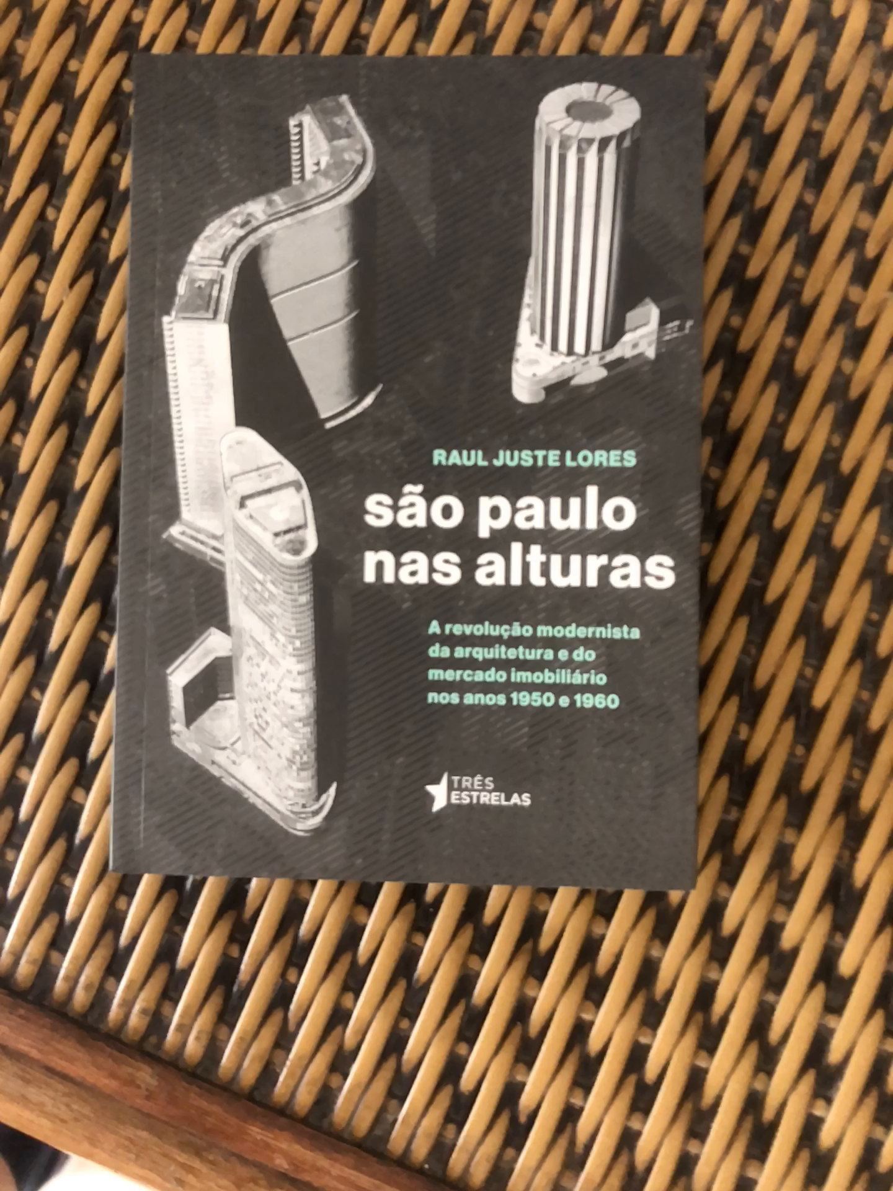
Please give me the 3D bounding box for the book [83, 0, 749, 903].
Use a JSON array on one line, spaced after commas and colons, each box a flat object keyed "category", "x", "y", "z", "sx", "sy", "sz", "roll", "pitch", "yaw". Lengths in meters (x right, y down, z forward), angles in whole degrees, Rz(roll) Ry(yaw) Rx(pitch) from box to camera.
[{"category": "book", "x": -0.008, "y": -0.036, "z": 0.264, "sx": 0.160, "sy": 0.030, "sz": 0.221, "roll": 2, "pitch": 91, "yaw": 1}]
